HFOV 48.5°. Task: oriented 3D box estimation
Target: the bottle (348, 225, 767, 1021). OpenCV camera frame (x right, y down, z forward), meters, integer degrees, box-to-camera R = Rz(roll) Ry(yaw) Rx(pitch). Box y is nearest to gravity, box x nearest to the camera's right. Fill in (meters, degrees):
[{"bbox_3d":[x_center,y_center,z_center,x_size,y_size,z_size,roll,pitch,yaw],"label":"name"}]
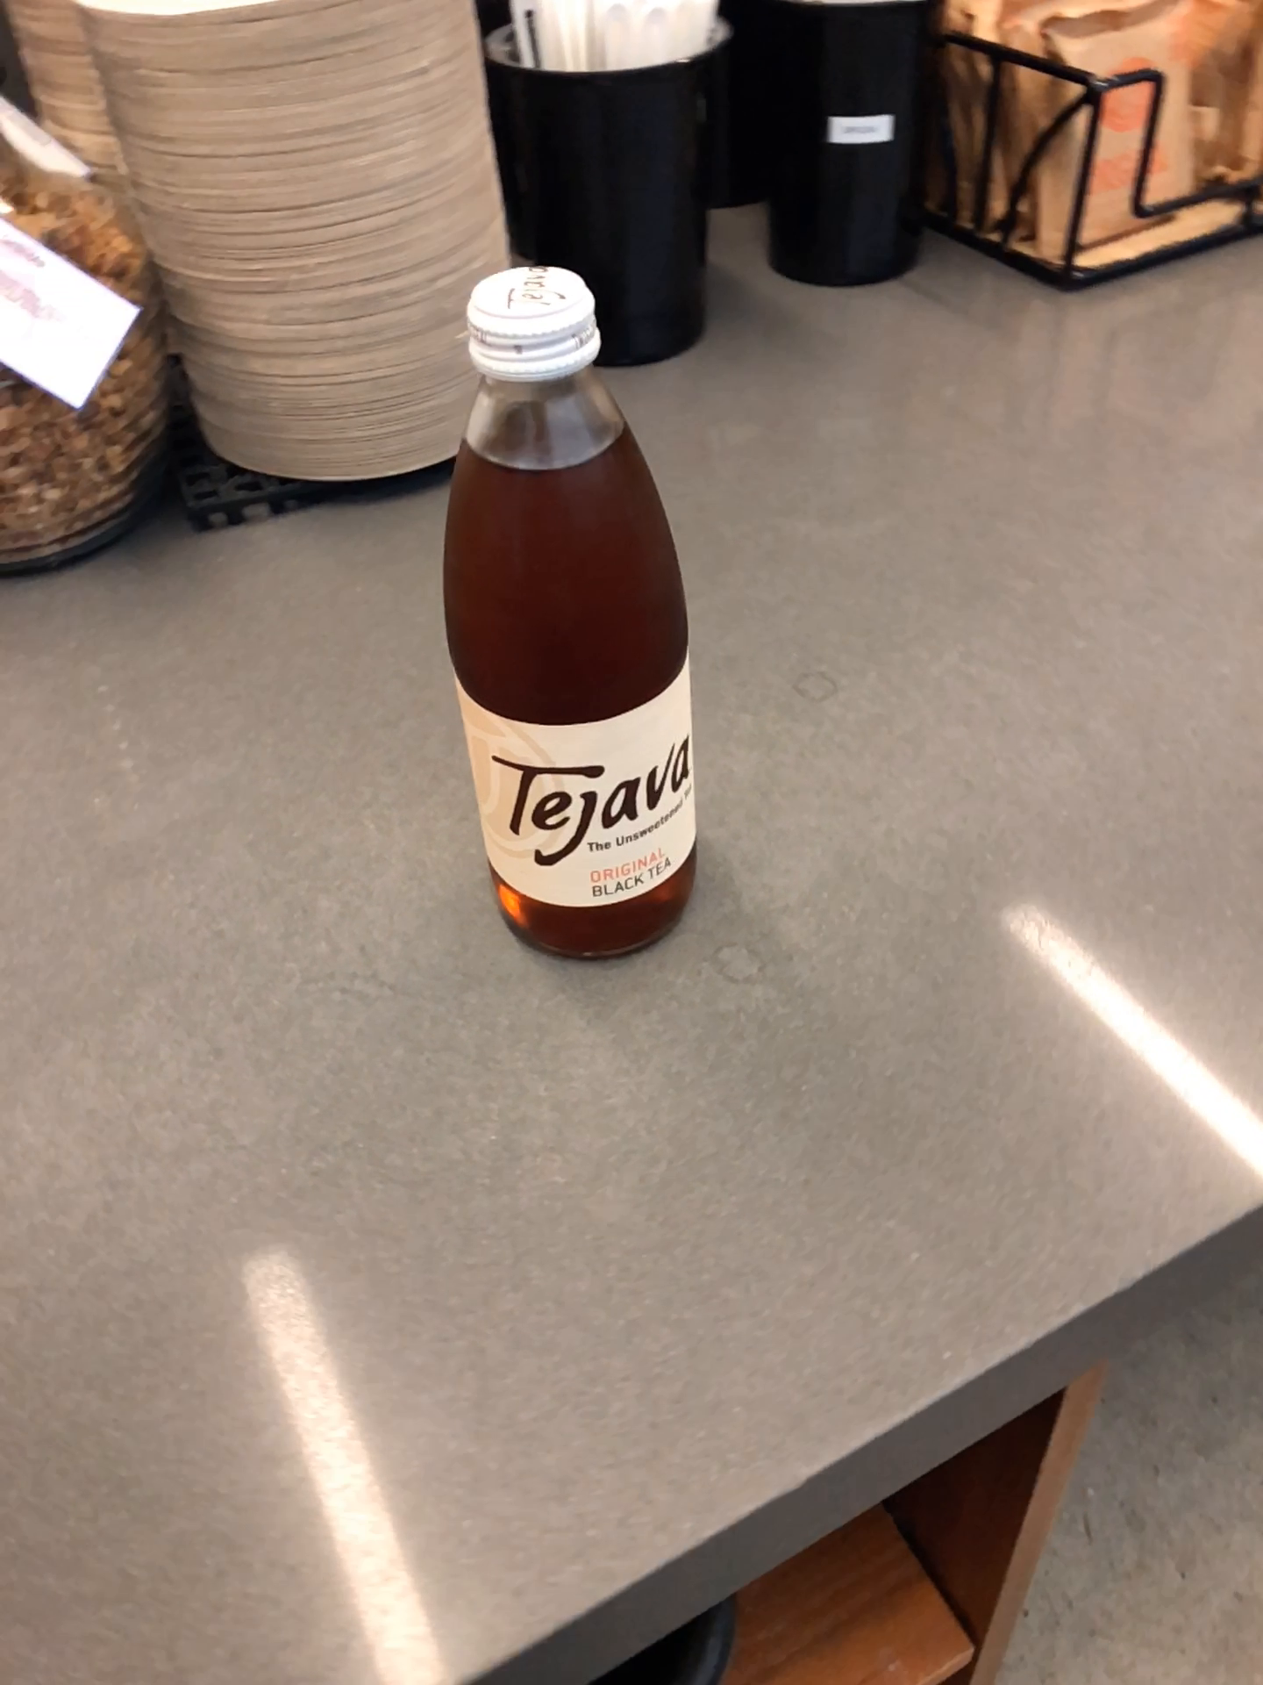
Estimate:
[{"bbox_3d":[-0.013,-0.050,0.377,0.070,0.189,0.070,-2,43,2],"label":"bottle"}]
